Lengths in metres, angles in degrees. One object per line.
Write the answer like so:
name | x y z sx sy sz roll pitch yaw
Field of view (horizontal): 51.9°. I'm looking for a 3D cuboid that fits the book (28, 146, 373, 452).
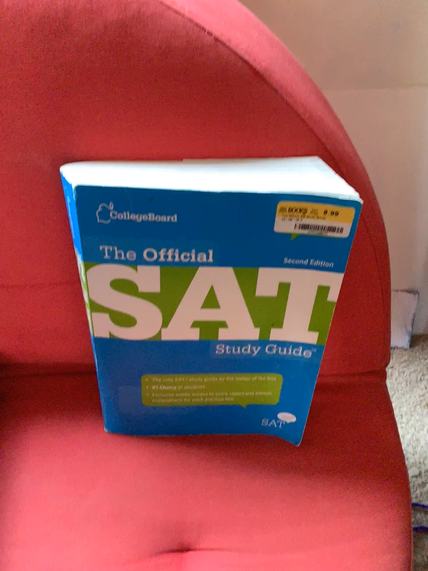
book | -0.011 0.021 0.390 0.230 0.259 0.080 2 29 0
